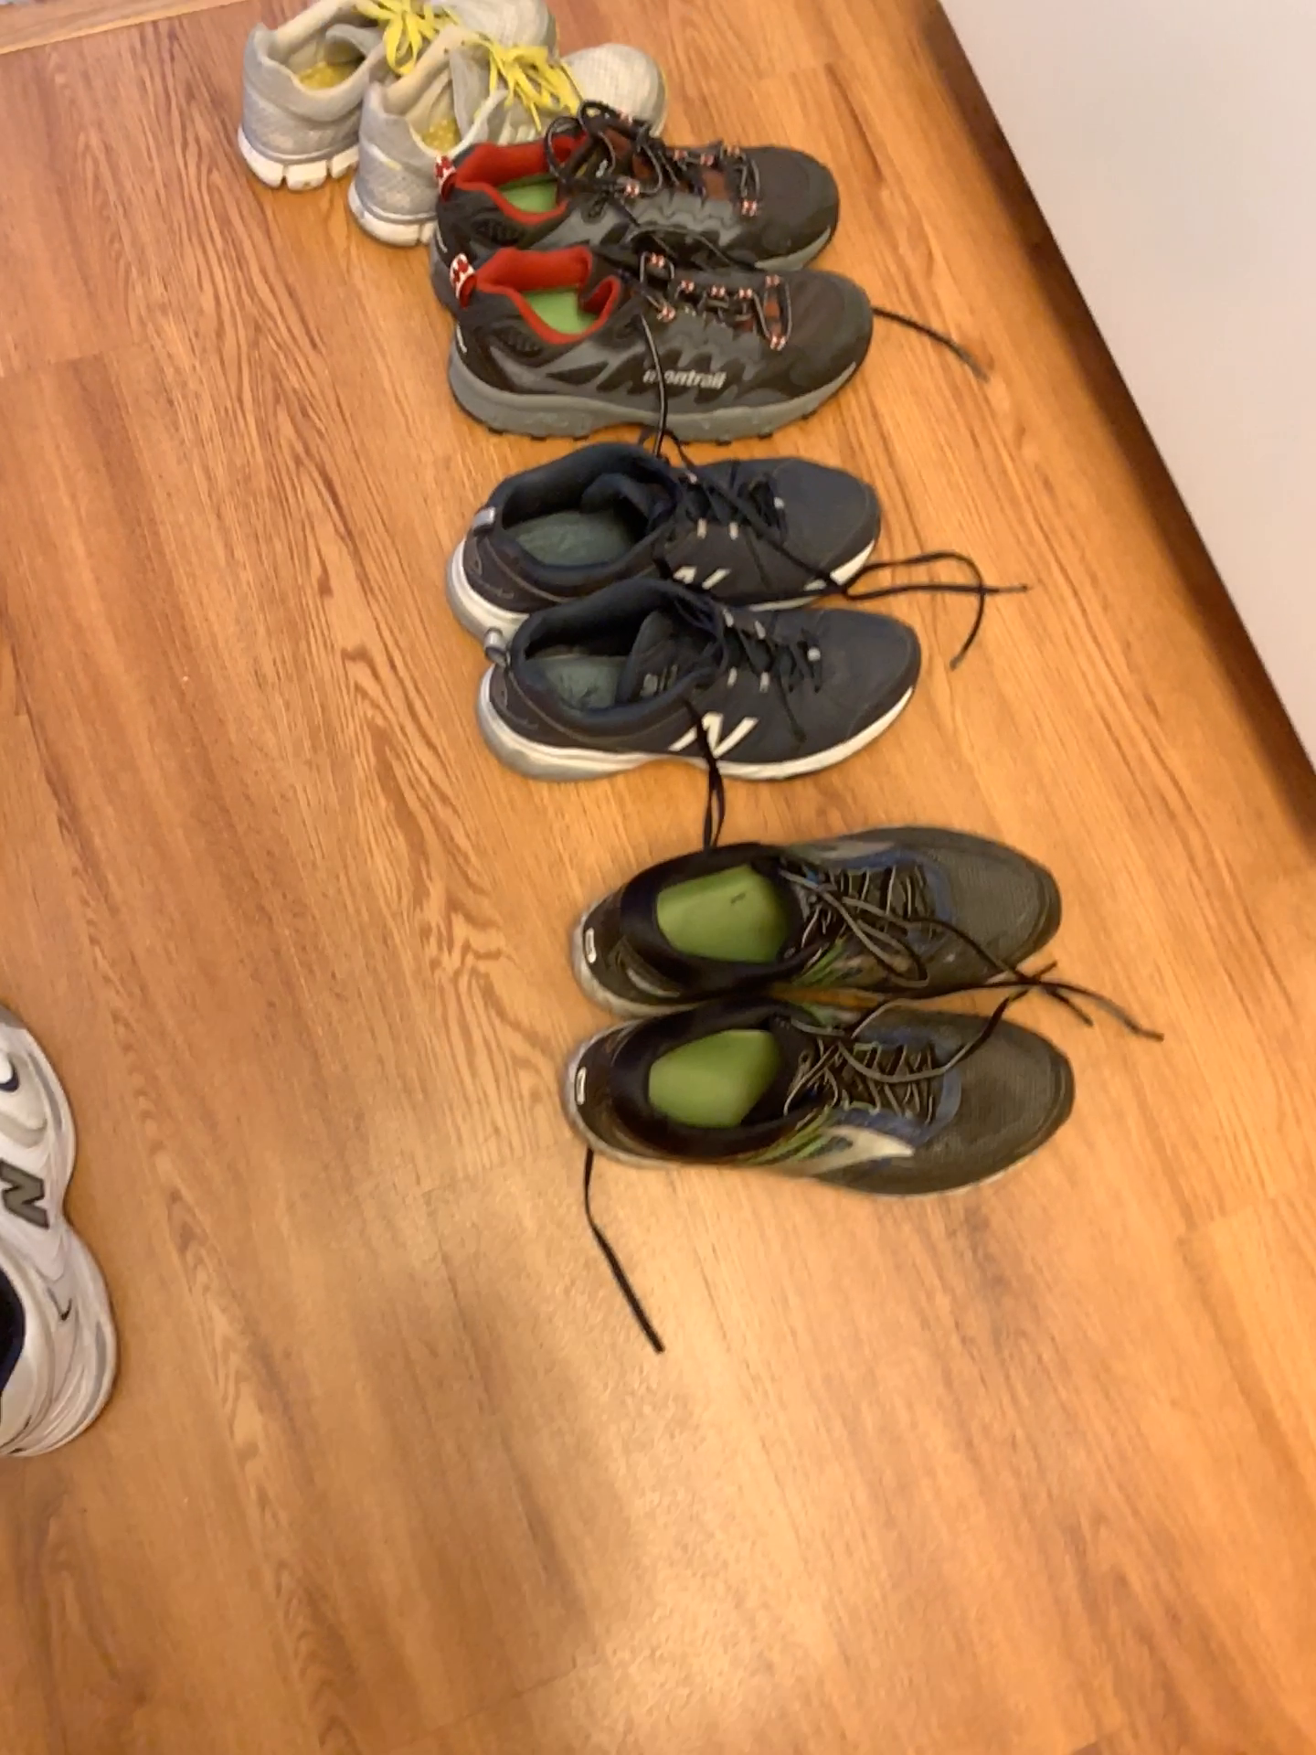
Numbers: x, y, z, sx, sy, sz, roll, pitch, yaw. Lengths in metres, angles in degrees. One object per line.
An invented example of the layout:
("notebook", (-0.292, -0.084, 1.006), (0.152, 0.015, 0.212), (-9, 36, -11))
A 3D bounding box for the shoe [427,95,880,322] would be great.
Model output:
("shoe", (-0.006, -0.476, 0.966), (0.300, 0.090, 0.100), (-5, 76, -6))

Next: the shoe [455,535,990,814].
("shoe", (0.035, -0.127, 0.863), (0.310, 0.100, 0.120), (-6, 76, -7))

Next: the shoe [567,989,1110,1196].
("shoe", (0.101, 0.136, 0.834), (0.310, 0.110, 0.110), (2, 75, -5))

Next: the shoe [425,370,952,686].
("shoe", (0.016, -0.228, 0.890), (0.310, 0.100, 0.120), (-12, 77, -8))

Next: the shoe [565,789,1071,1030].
("shoe", (0.091, 0.022, 0.854), (0.290, 0.110, 0.110), (-4, 76, -6))

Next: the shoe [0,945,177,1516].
("shoe", (-0.381, 0.189, 0.754), (0.110, 0.130, 0.260), (-22, 78, -10))

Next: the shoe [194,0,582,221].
("shoe", (-0.196, -0.602, 1.020), (0.270, 0.080, 0.080), (-28, 79, -11))

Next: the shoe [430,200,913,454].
("shoe", (0.006, -0.383, 0.944), (0.310, 0.090, 0.120), (-5, 76, -6))

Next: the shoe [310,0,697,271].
("shoe", (-0.112, -0.560, 1.011), (0.270, 0.080, 0.080), (-28, 79, -11))
